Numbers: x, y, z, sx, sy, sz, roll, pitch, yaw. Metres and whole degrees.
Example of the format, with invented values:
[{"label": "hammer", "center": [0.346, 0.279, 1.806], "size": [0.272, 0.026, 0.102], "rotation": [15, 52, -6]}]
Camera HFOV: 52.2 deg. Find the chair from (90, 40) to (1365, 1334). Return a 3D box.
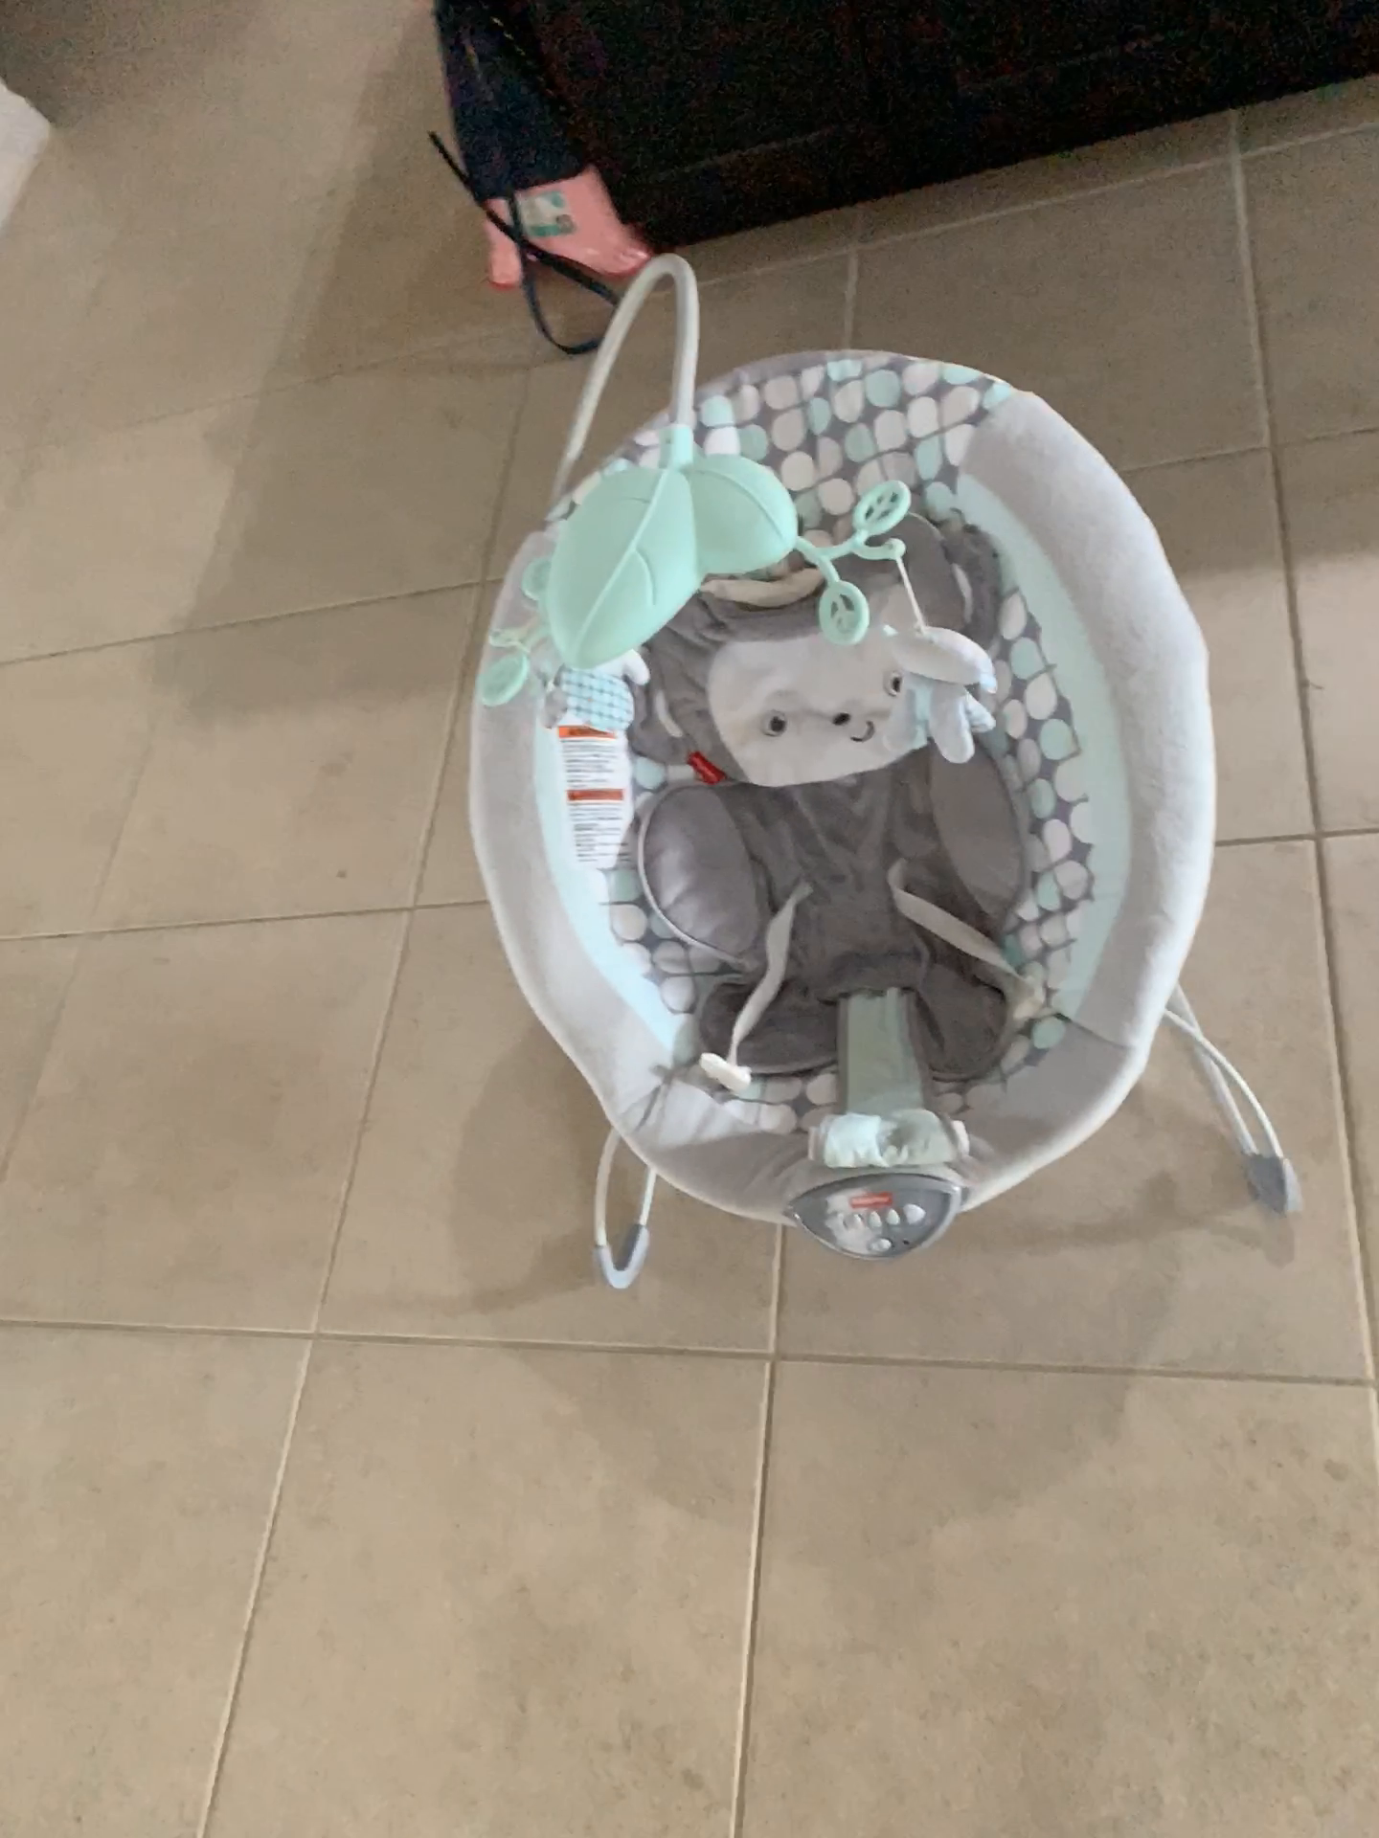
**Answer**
[{"label": "chair", "center": [0.082, -0.072, 0.969], "size": [0.571, 0.580, 0.548], "rotation": [-9, 59, 18]}]
